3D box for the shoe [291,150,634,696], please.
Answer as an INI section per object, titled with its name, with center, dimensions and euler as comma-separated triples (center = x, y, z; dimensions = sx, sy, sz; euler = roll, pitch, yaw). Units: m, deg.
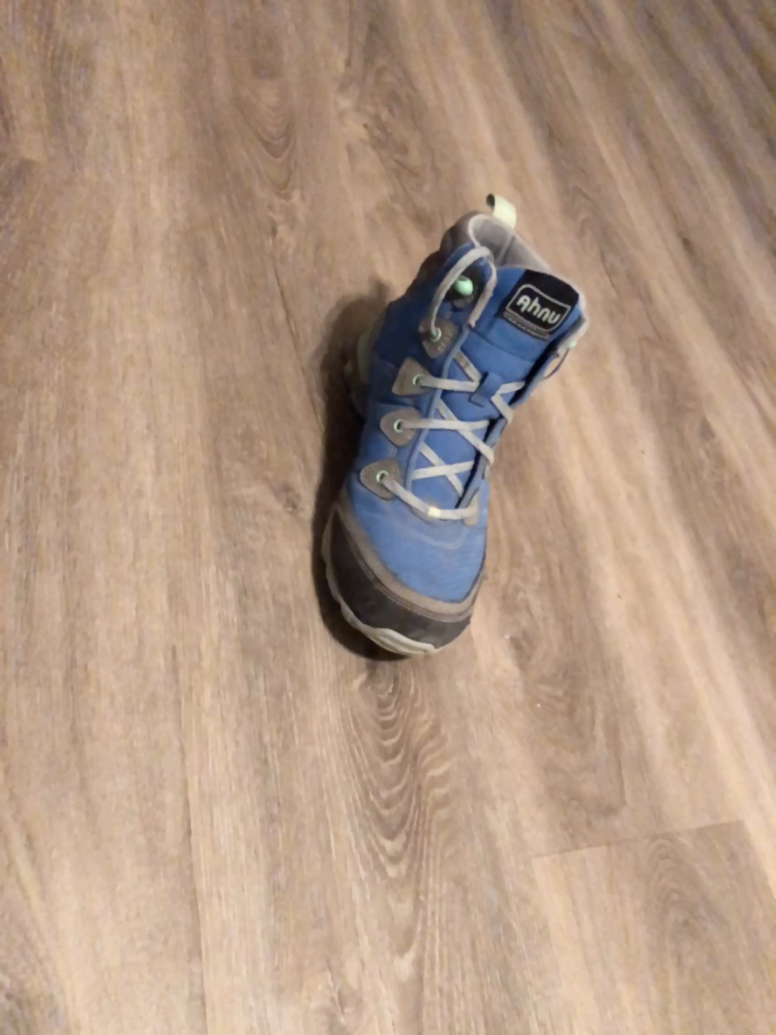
[shoe]
center = 0.032, -0.053, 0.474
dimensions = 0.100, 0.139, 0.251
euler = 19, 51, -23
